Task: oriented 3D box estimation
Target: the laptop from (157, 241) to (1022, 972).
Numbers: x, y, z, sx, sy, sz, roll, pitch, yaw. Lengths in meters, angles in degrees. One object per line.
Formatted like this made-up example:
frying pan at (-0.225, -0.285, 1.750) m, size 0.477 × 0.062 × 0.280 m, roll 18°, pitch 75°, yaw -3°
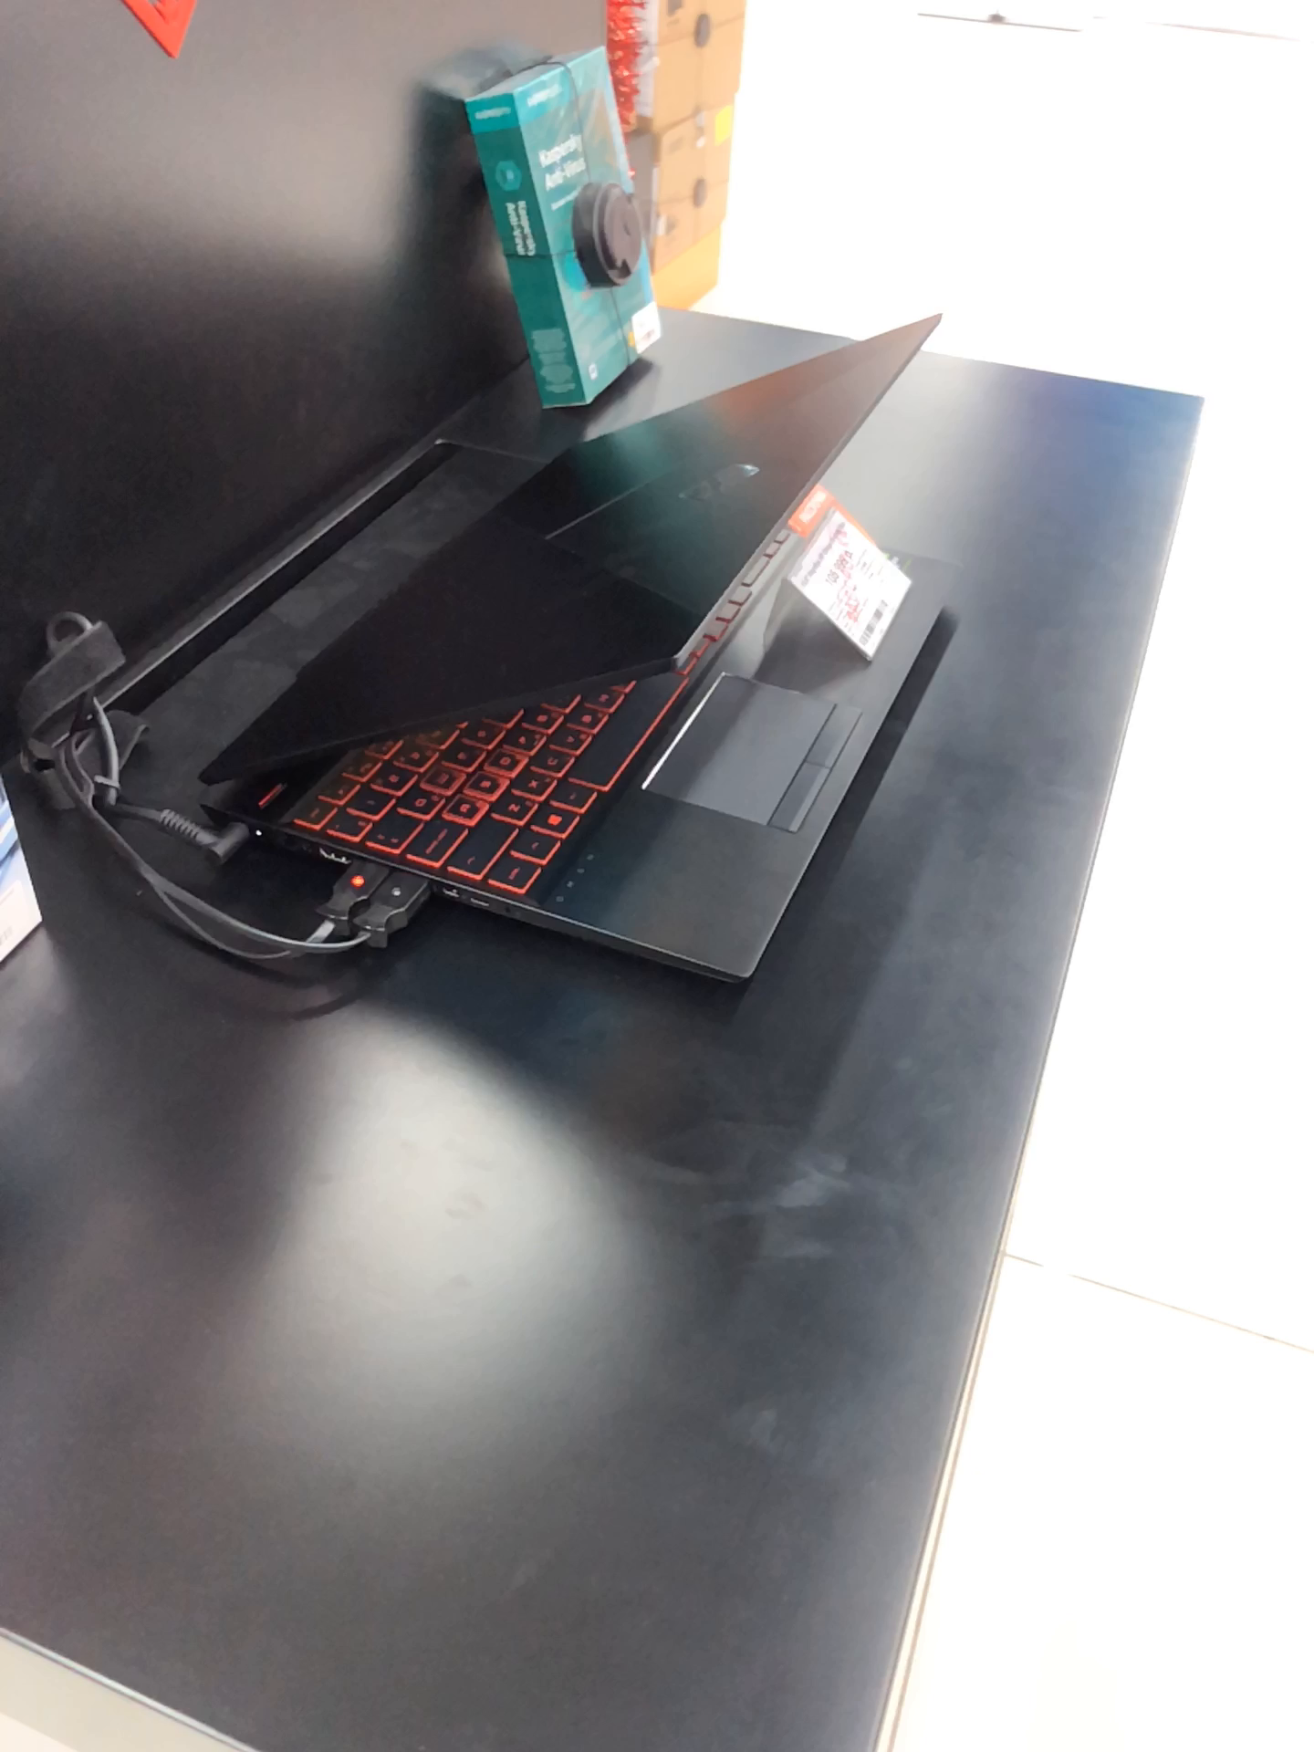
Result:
laptop at (-0.003, -0.150, 0.652) m, size 0.230 × 0.121 × 0.352 m, roll 19°, pitch 43°, yaw 15°
